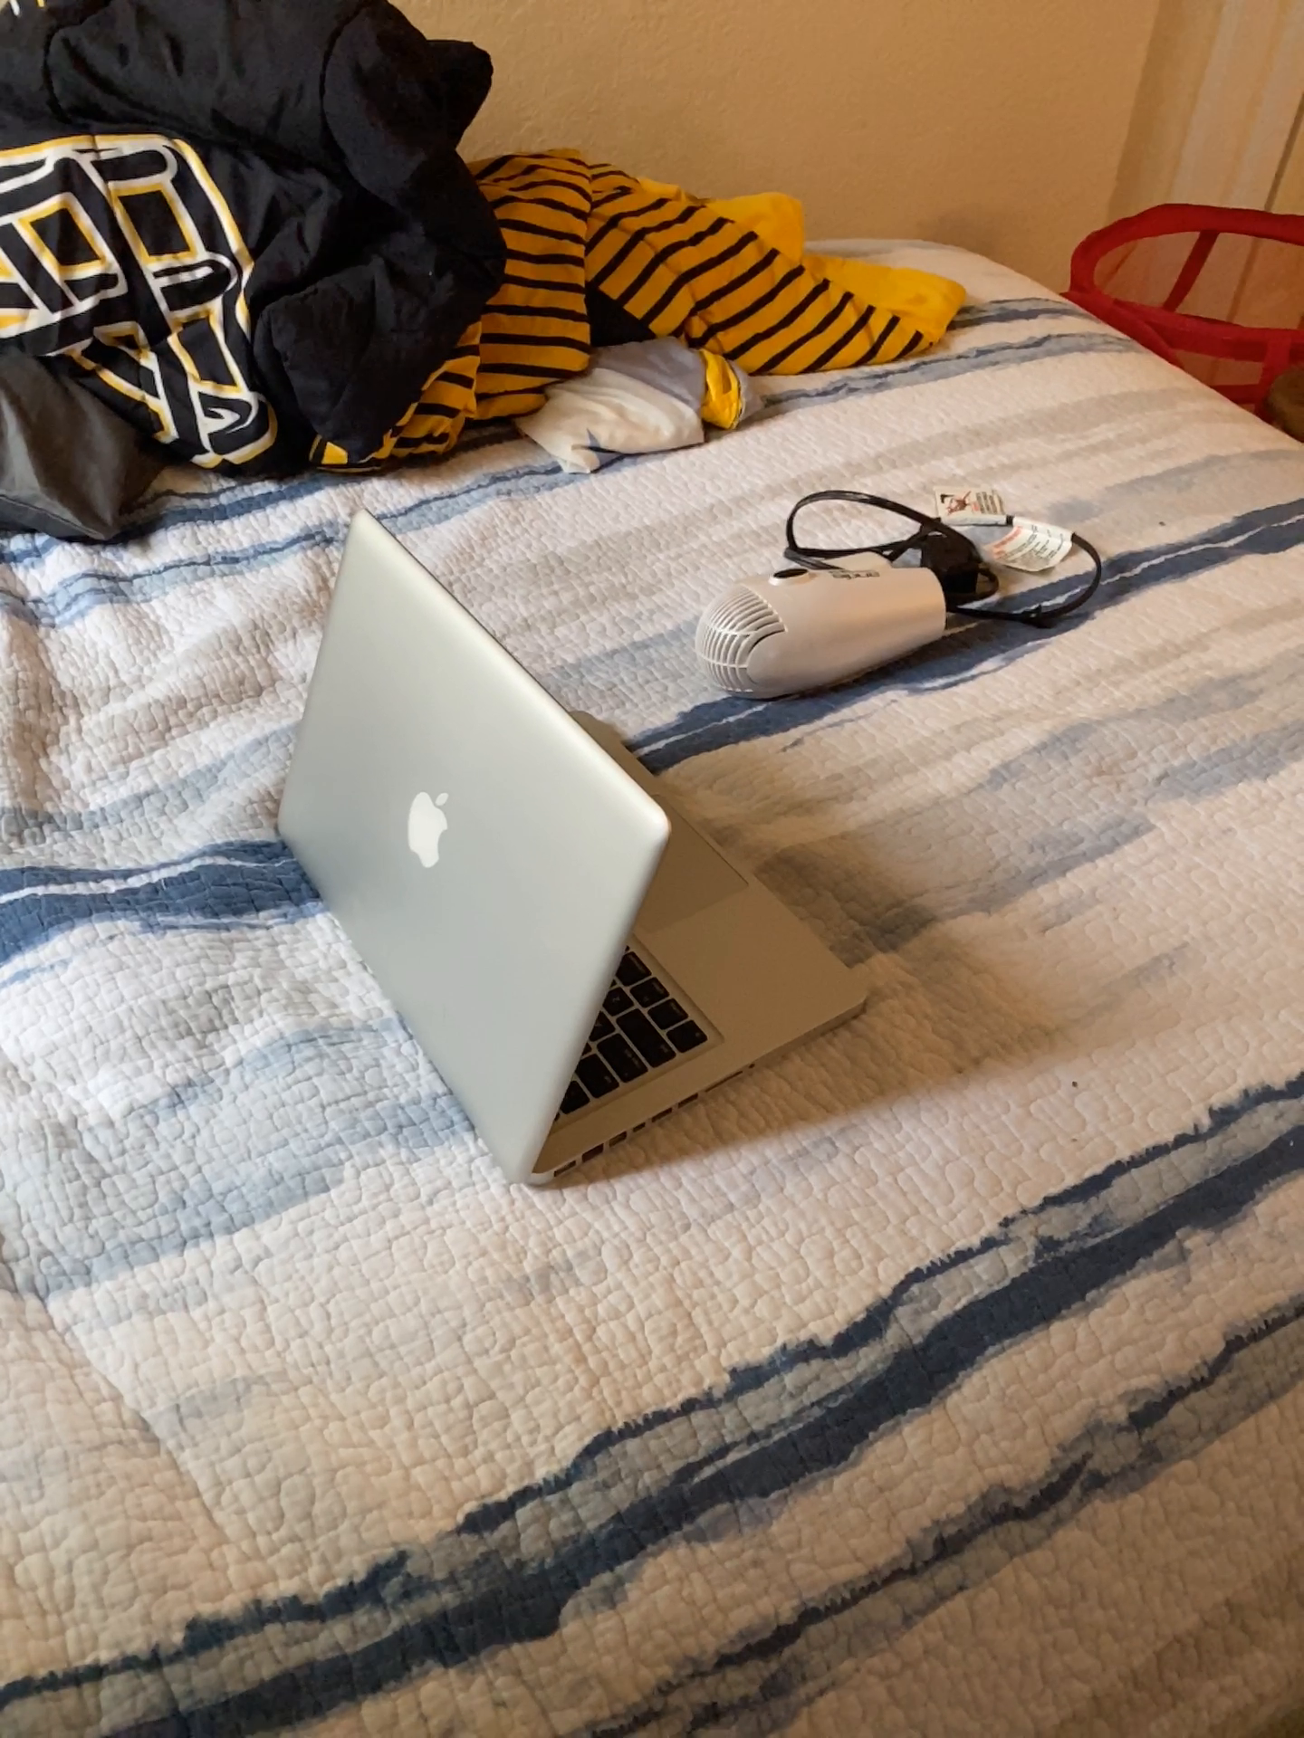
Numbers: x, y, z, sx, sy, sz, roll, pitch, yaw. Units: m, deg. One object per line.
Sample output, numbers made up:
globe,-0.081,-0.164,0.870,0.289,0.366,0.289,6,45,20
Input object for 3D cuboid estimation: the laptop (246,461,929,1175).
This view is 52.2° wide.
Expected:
laptop,-0.048,-0.045,0.724,0.214,0.188,0.302,-23,49,-23
